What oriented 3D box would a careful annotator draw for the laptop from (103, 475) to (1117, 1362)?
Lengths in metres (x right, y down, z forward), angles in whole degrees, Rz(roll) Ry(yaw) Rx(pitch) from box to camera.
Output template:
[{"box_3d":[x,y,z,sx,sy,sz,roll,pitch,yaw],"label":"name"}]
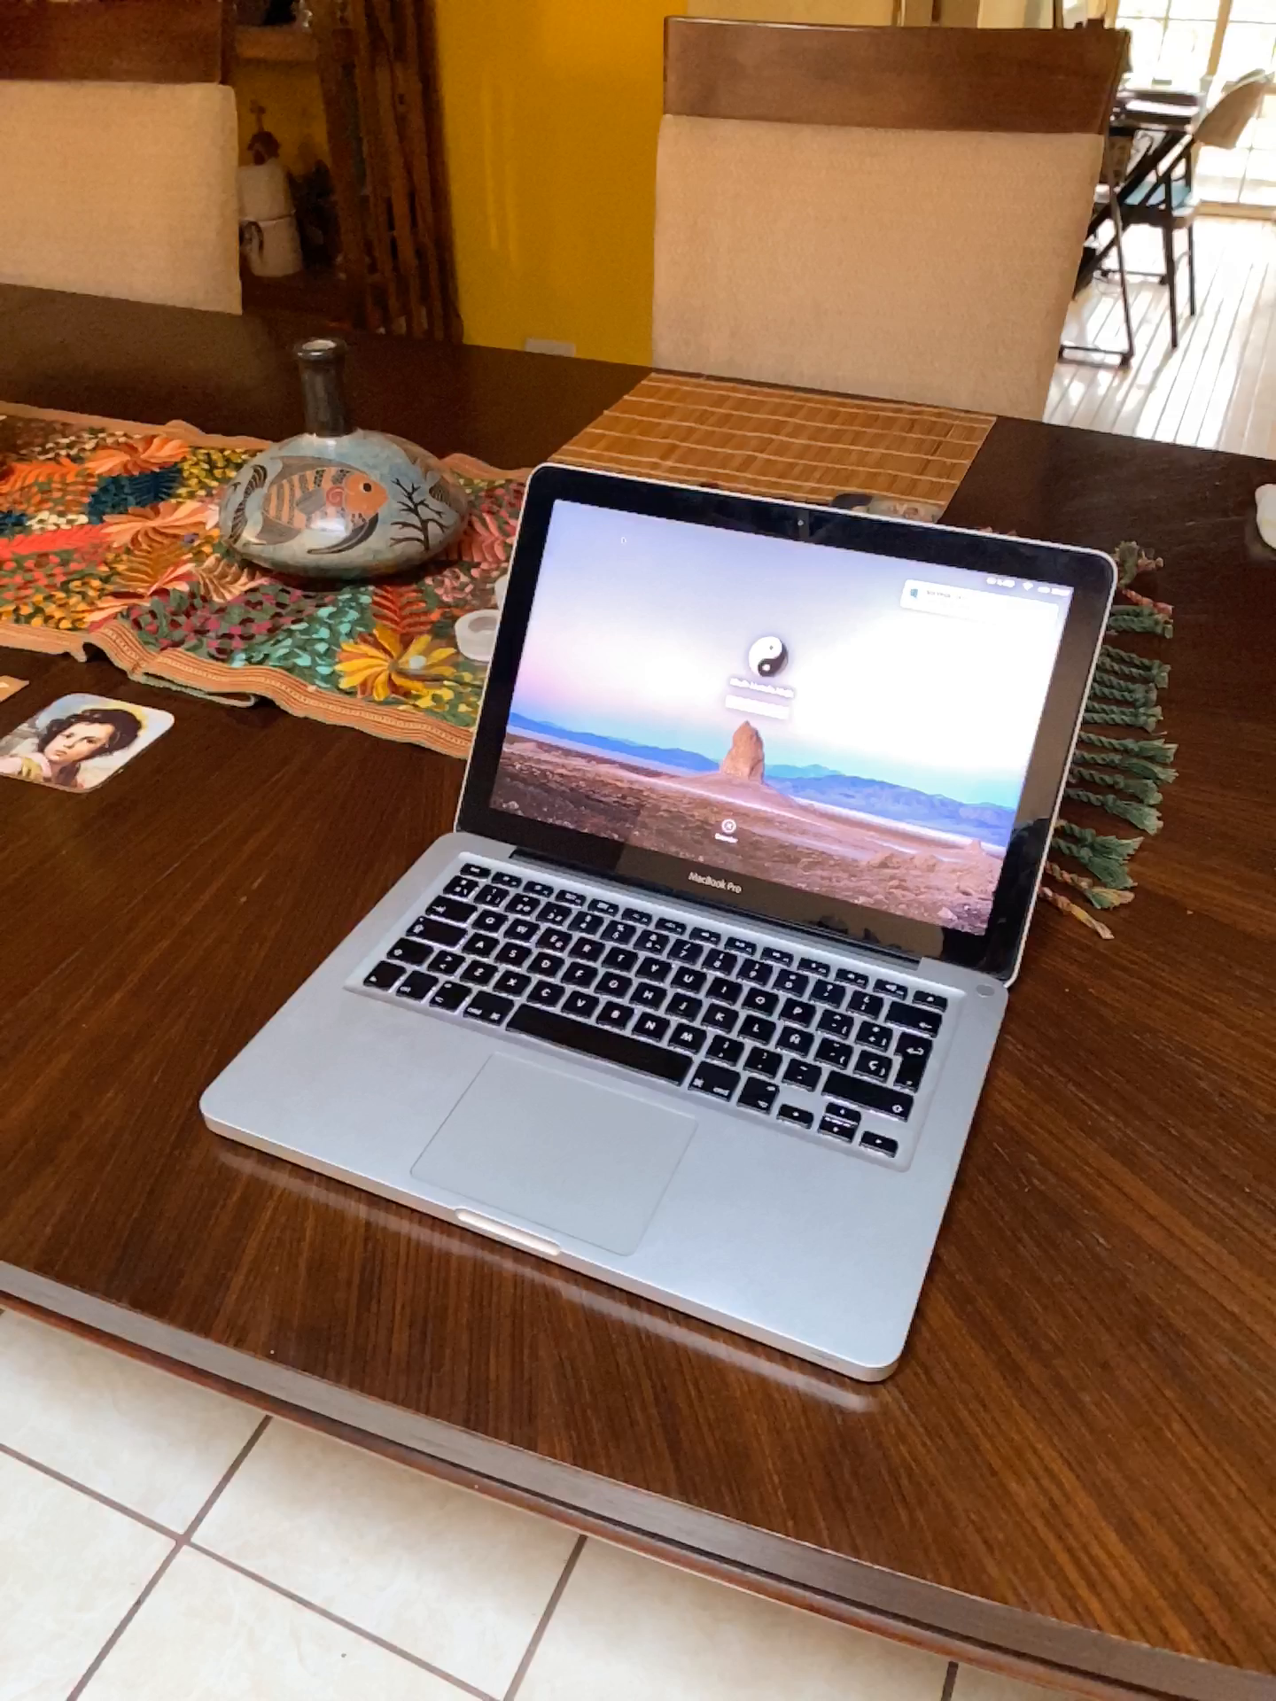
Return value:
[{"box_3d":[0.018,-0.011,0.627,0.324,0.170,0.359,15,40,19],"label":"laptop"}]
